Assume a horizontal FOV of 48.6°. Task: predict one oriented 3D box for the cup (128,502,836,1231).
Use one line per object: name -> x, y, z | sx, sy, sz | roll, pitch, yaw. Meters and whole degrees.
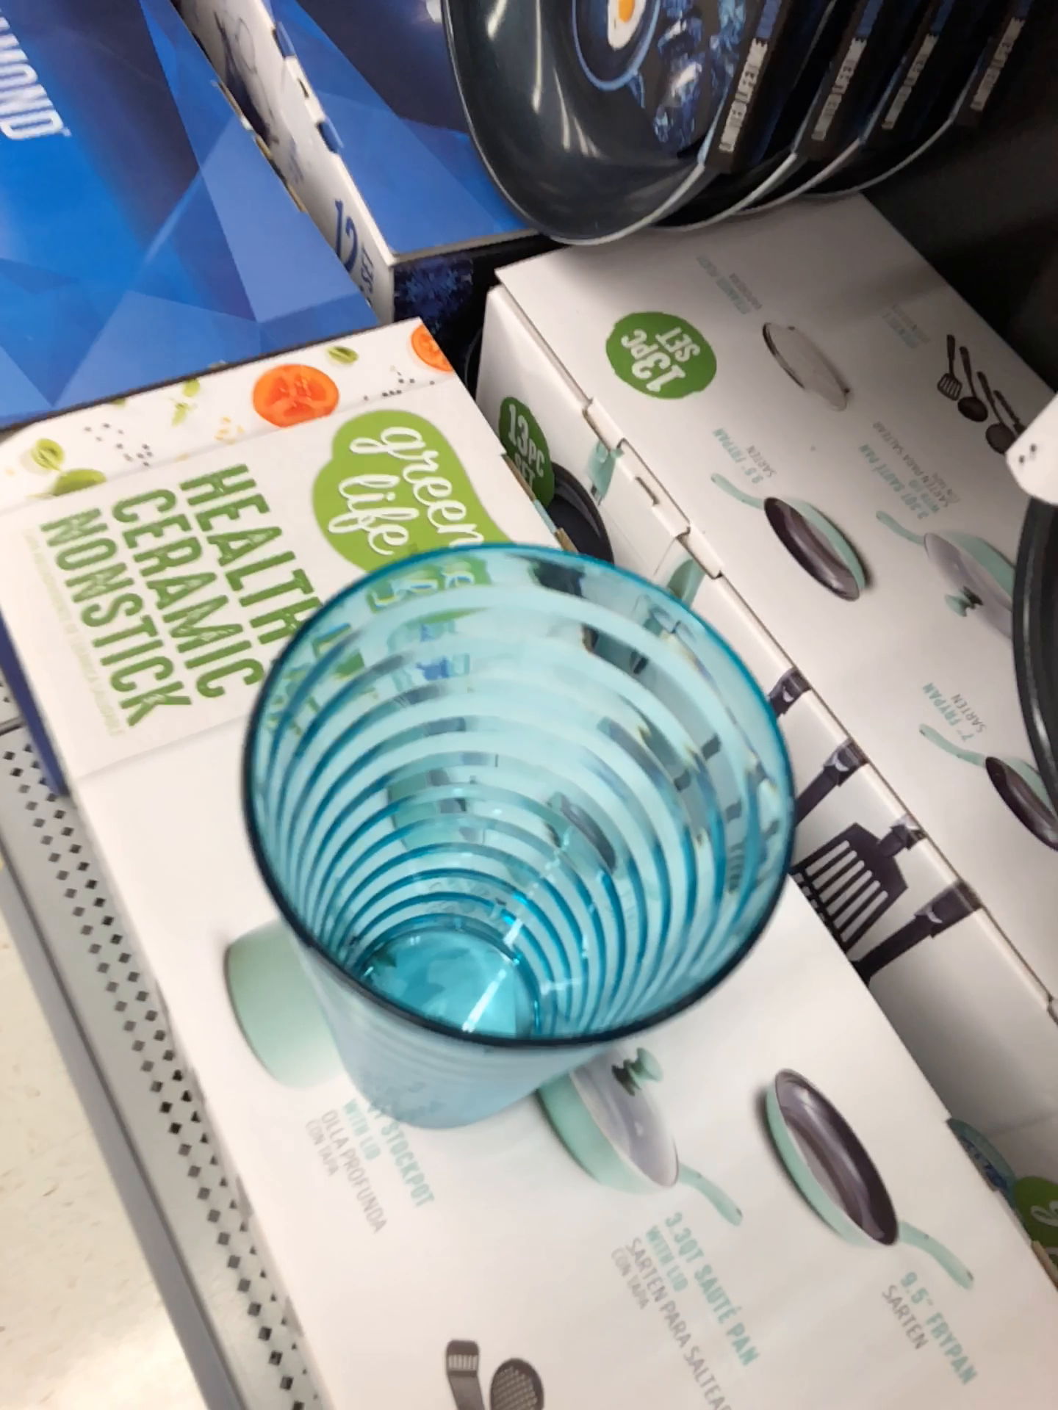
cup -> -0.012, 0.050, 0.261 | 0.103, 0.151, 0.104 | 4, 61, -7
